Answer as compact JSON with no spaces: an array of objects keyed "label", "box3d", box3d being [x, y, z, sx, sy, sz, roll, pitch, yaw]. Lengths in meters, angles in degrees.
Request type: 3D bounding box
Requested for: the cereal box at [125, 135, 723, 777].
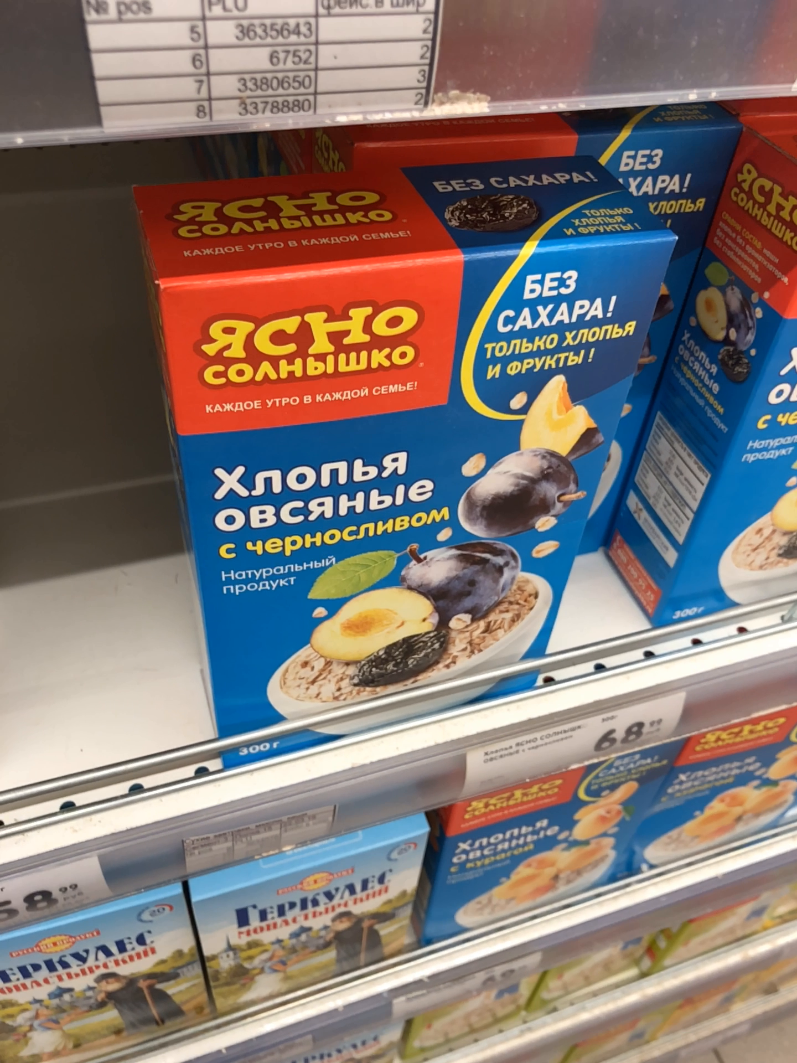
[{"label":"cereal box","box3d":[0.000,-0.011,0.295,0.140,0.209,0.050,-11,48,-15]}]
